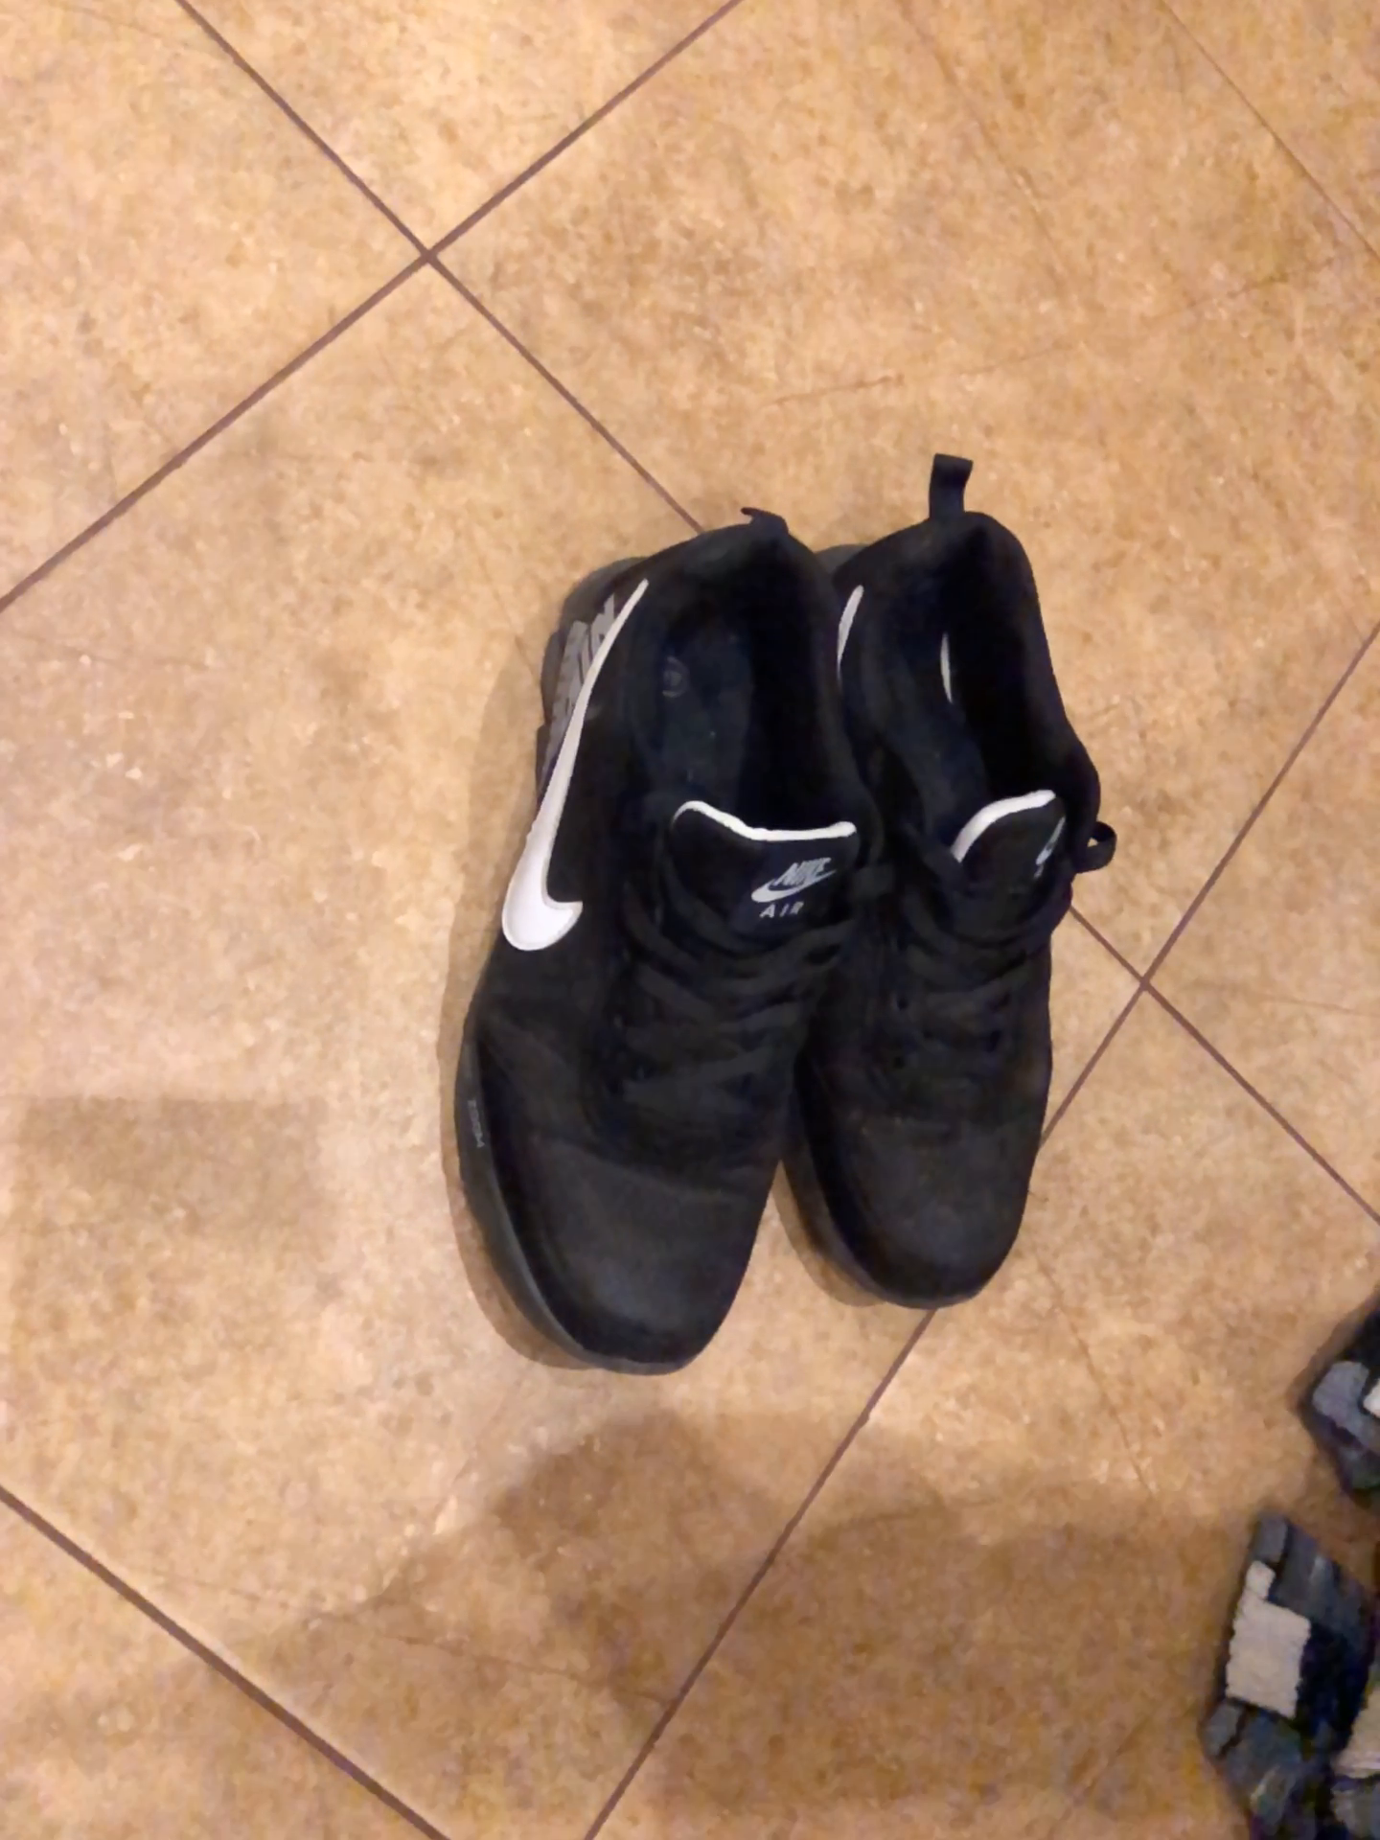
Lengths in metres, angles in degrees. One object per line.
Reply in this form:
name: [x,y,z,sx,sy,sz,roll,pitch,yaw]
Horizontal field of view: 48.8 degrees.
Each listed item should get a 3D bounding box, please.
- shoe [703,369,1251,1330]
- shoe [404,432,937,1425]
shoe: [0.091,-0.018,0.540,0.120,0.120,0.300,1,79,-22]
shoe: [-0.007,0.009,0.482,0.110,0.120,0.270,10,75,-21]
